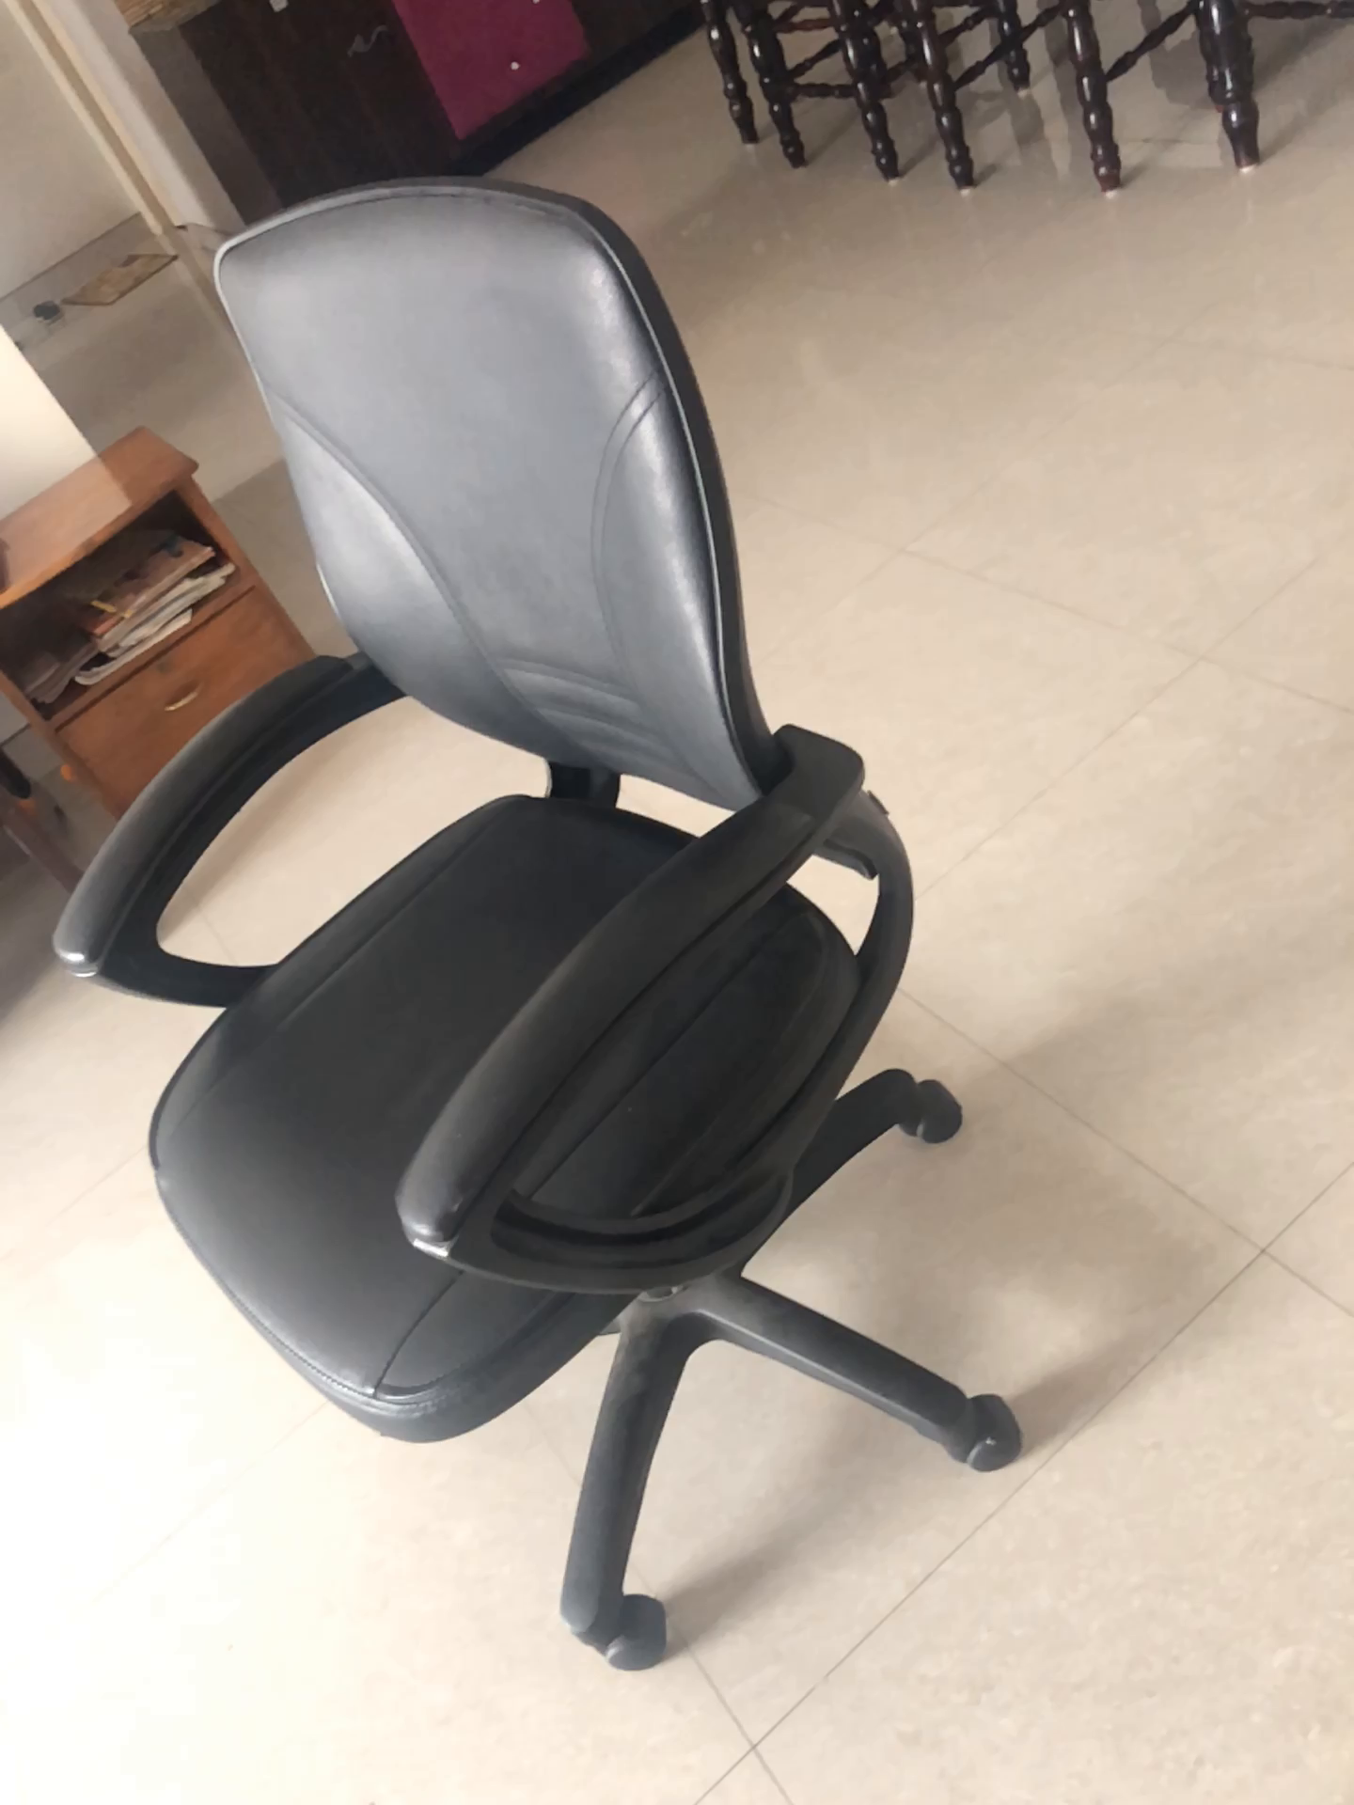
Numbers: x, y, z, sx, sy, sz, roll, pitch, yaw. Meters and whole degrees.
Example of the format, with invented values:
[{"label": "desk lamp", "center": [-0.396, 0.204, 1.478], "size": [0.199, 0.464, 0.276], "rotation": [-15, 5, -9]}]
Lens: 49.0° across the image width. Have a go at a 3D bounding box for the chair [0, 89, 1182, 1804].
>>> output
[{"label": "chair", "center": [-0.189, 0.061, 1.126], "size": [0.631, 0.953, 0.704], "rotation": [-45, 41, -18]}]
